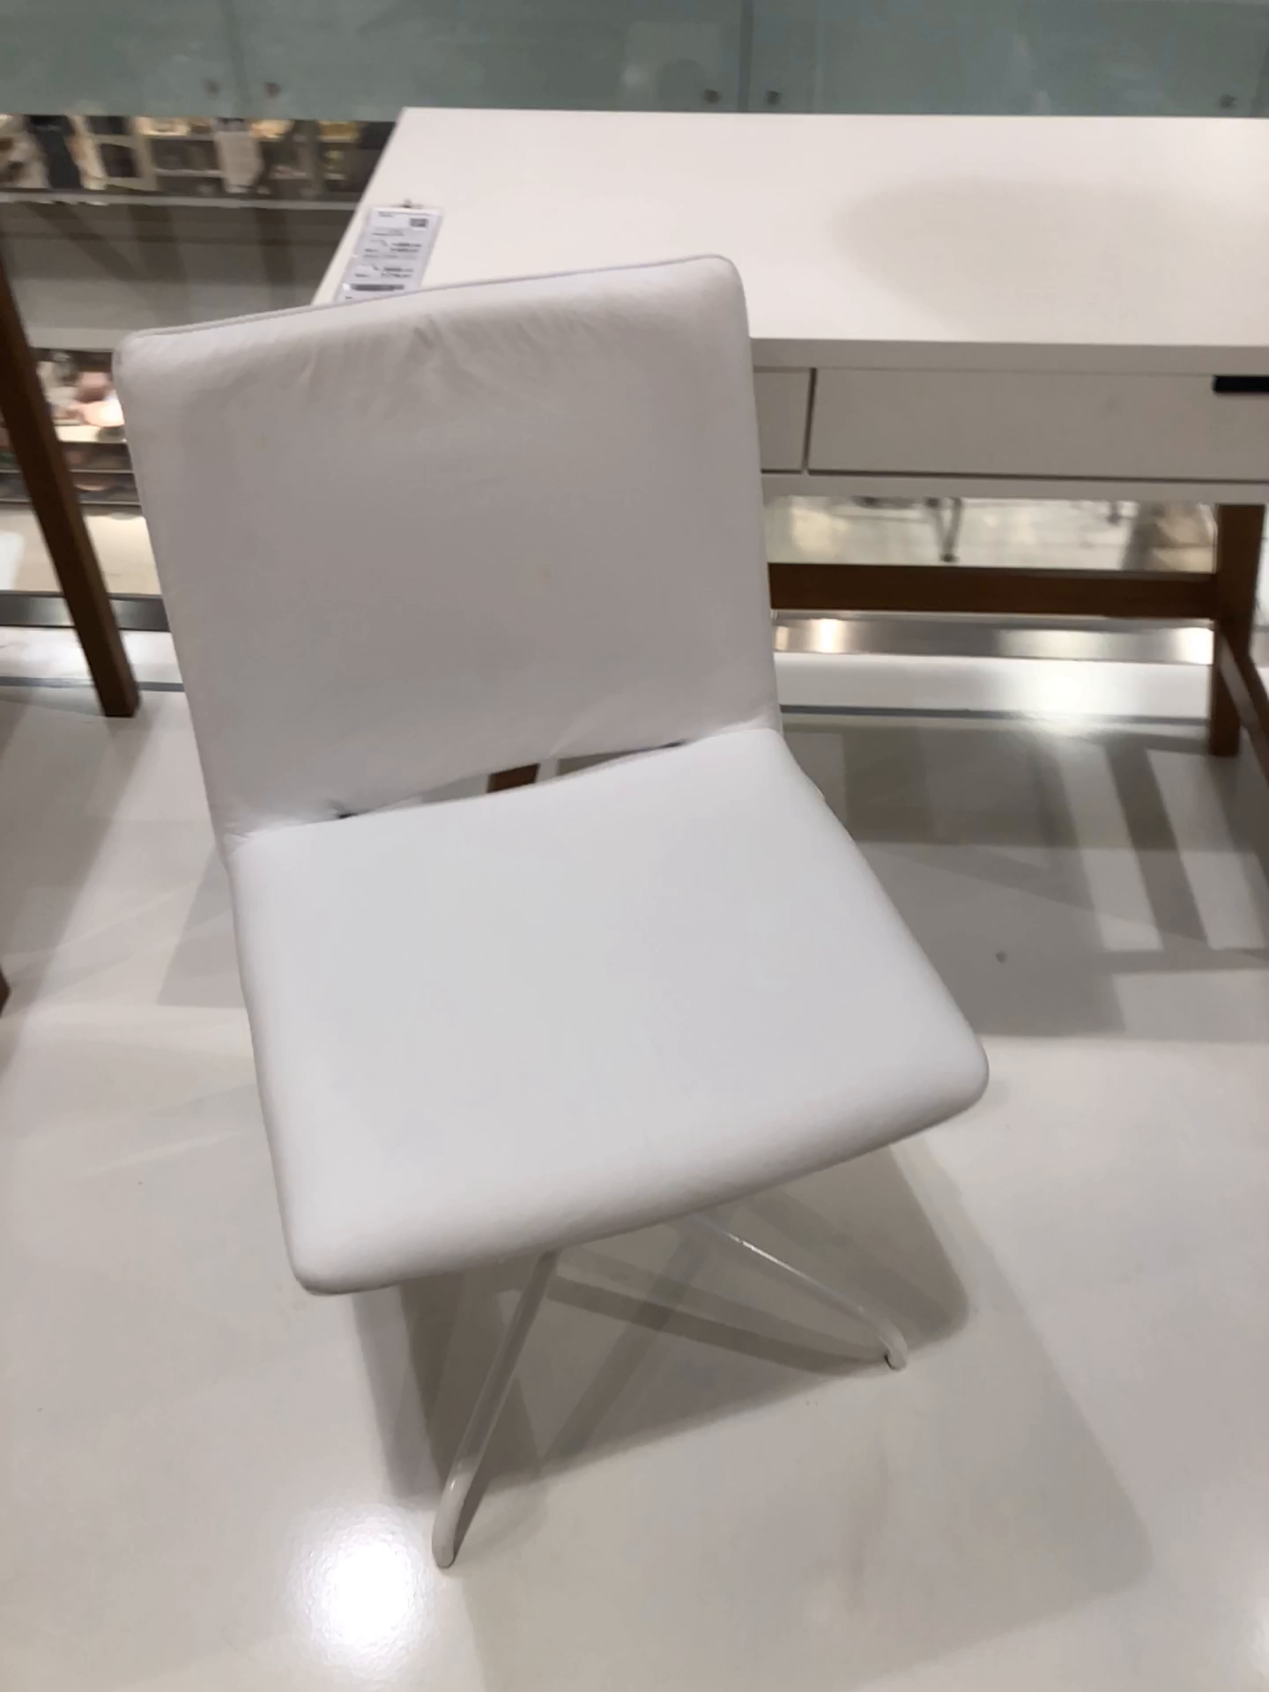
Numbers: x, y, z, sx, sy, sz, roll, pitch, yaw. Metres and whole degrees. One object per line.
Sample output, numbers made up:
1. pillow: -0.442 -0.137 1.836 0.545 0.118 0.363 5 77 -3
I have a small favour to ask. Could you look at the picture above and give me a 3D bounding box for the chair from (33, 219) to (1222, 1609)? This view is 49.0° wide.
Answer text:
1. chair: -0.049 0.086 1.048 0.510 0.844 0.503 -14 46 -13
